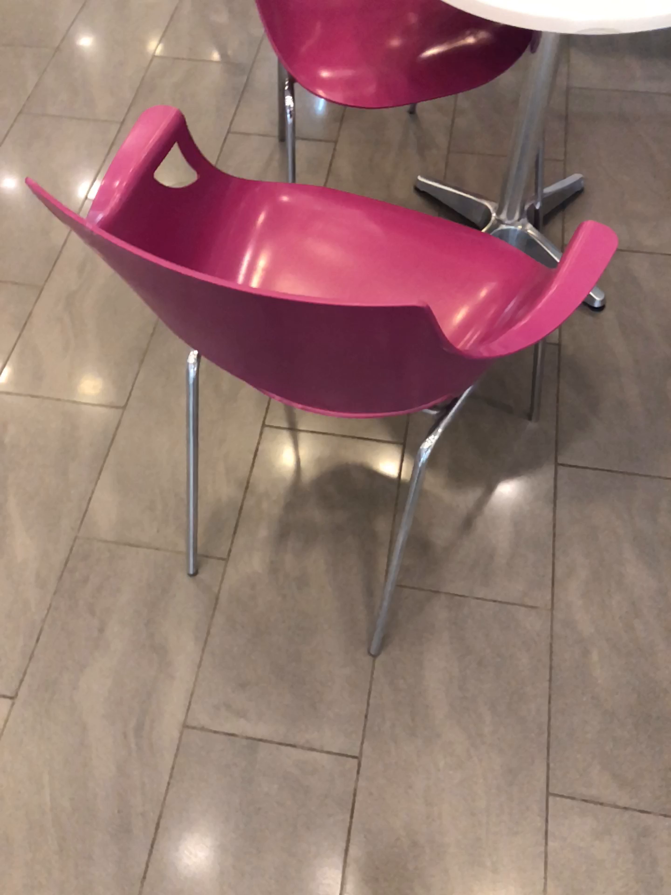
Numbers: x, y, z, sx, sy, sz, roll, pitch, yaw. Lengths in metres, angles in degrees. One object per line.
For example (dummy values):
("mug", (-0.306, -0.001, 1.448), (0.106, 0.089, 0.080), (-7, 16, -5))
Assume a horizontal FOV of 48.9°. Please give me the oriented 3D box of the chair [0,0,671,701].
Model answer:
("chair", (0.003, -0.142, 1.033), (0.630, 0.758, 0.591), (22, 63, 14))
